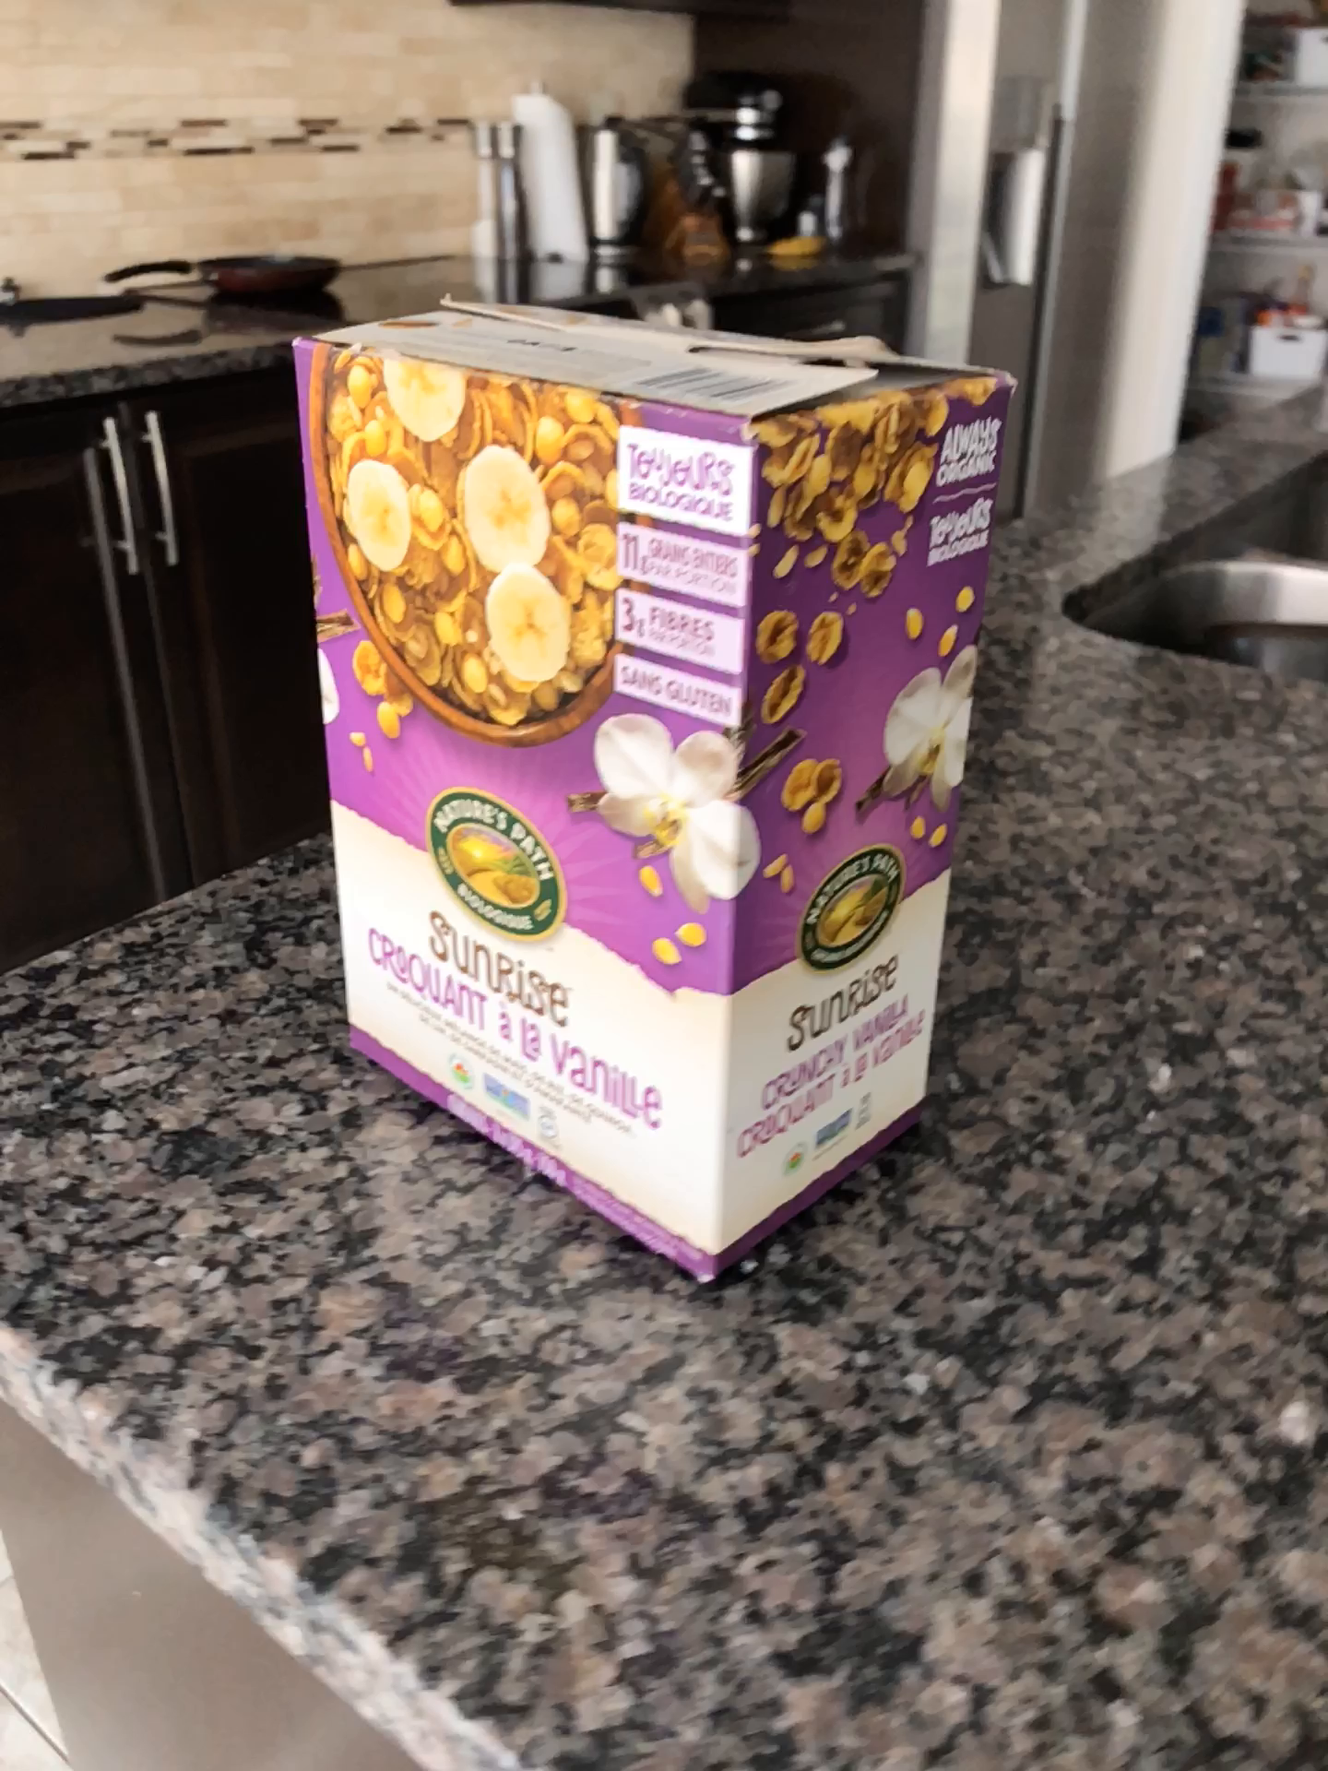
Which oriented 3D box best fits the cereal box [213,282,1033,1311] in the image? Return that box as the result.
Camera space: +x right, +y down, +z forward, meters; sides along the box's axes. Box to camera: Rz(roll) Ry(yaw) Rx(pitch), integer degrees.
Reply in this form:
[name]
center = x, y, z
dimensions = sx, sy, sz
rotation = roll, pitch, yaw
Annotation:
[cereal box]
center = -0.016, -0.039, 0.422
dimensions = 0.180, 0.229, 0.110
rotation = 24, 35, 38
